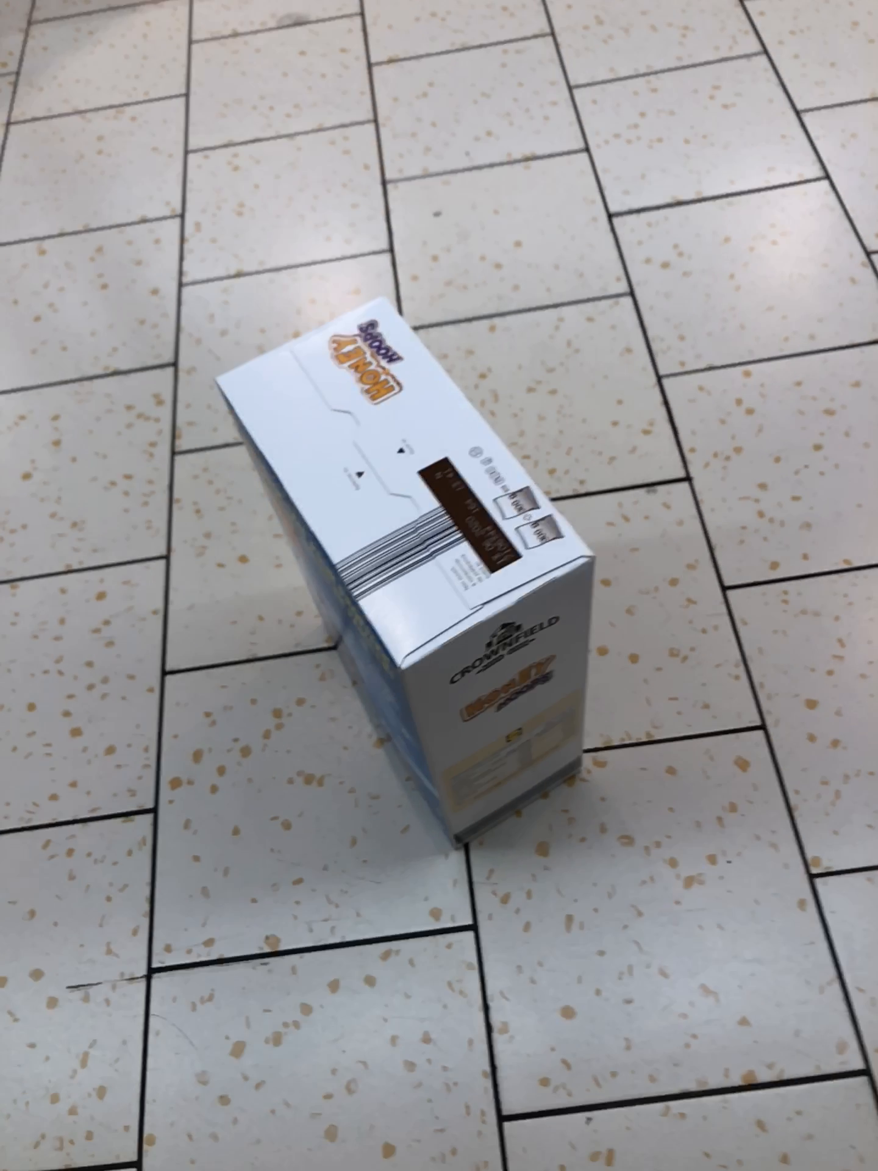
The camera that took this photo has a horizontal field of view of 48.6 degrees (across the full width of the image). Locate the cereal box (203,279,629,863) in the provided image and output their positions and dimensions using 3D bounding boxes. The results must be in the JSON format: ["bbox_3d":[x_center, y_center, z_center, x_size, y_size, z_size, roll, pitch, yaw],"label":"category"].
[{"bbox_3d":[-0.006,0.005,0.552,0.110,0.249,0.211,-28,59,-10],"label":"cereal box"}]
